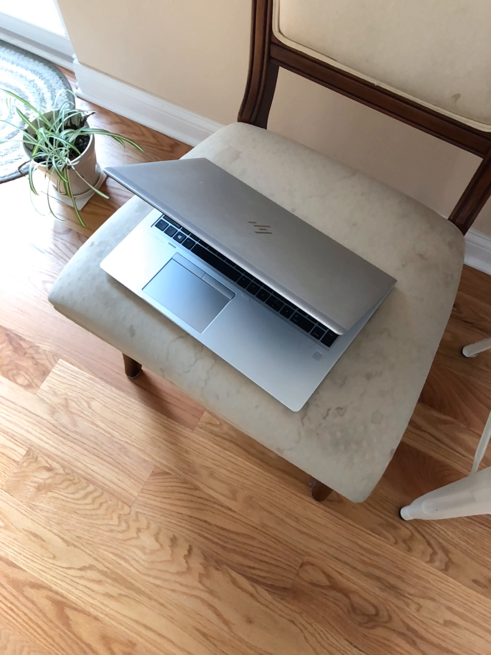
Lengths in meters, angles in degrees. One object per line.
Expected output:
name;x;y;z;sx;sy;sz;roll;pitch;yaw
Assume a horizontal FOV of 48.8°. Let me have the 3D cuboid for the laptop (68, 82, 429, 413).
laptop;0.001;-0.110;0.728;0.366;0.159;0.244;36;73;14
